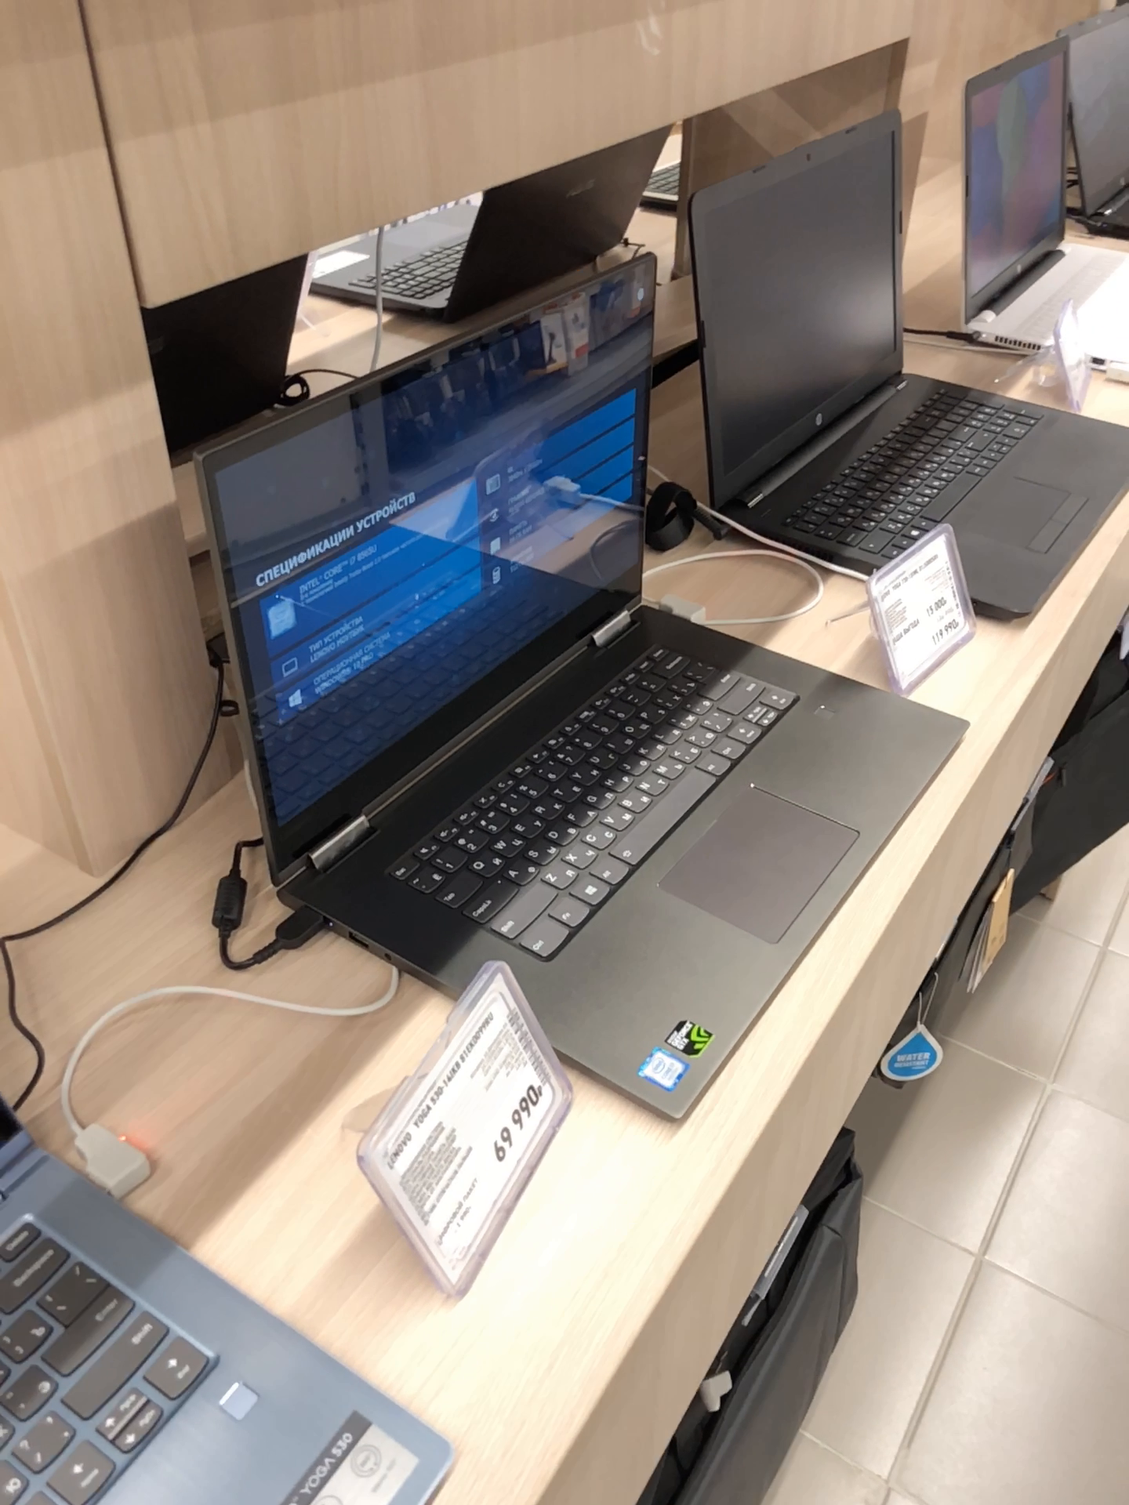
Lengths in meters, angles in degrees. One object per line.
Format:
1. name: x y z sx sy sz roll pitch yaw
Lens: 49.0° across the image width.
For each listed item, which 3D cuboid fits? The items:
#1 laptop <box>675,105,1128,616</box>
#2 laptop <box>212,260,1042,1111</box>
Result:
1. laptop: 0.296 -0.336 0.990 0.308 0.238 0.306 26 46 32
2. laptop: 0.050 -0.073 0.667 0.252 0.240 0.360 24 43 27
